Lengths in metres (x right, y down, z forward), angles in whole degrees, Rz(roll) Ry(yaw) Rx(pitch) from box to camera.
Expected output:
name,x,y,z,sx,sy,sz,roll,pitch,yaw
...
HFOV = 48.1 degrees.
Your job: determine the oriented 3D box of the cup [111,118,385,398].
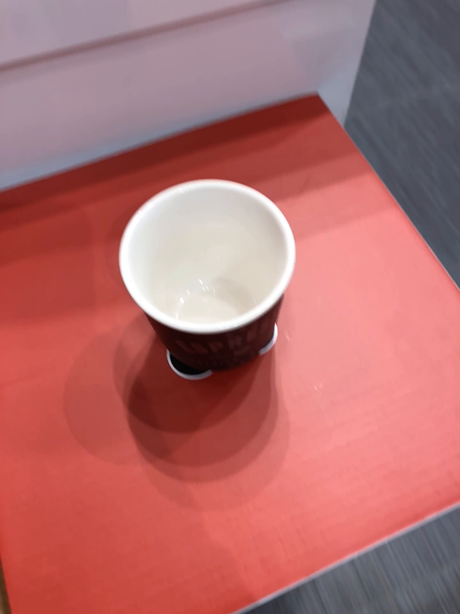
name,x,y,z,sx,sy,sz,roll,pitch,yaw
cup,0.007,-0.017,0.200,0.070,0.060,0.060,-34,68,-12
